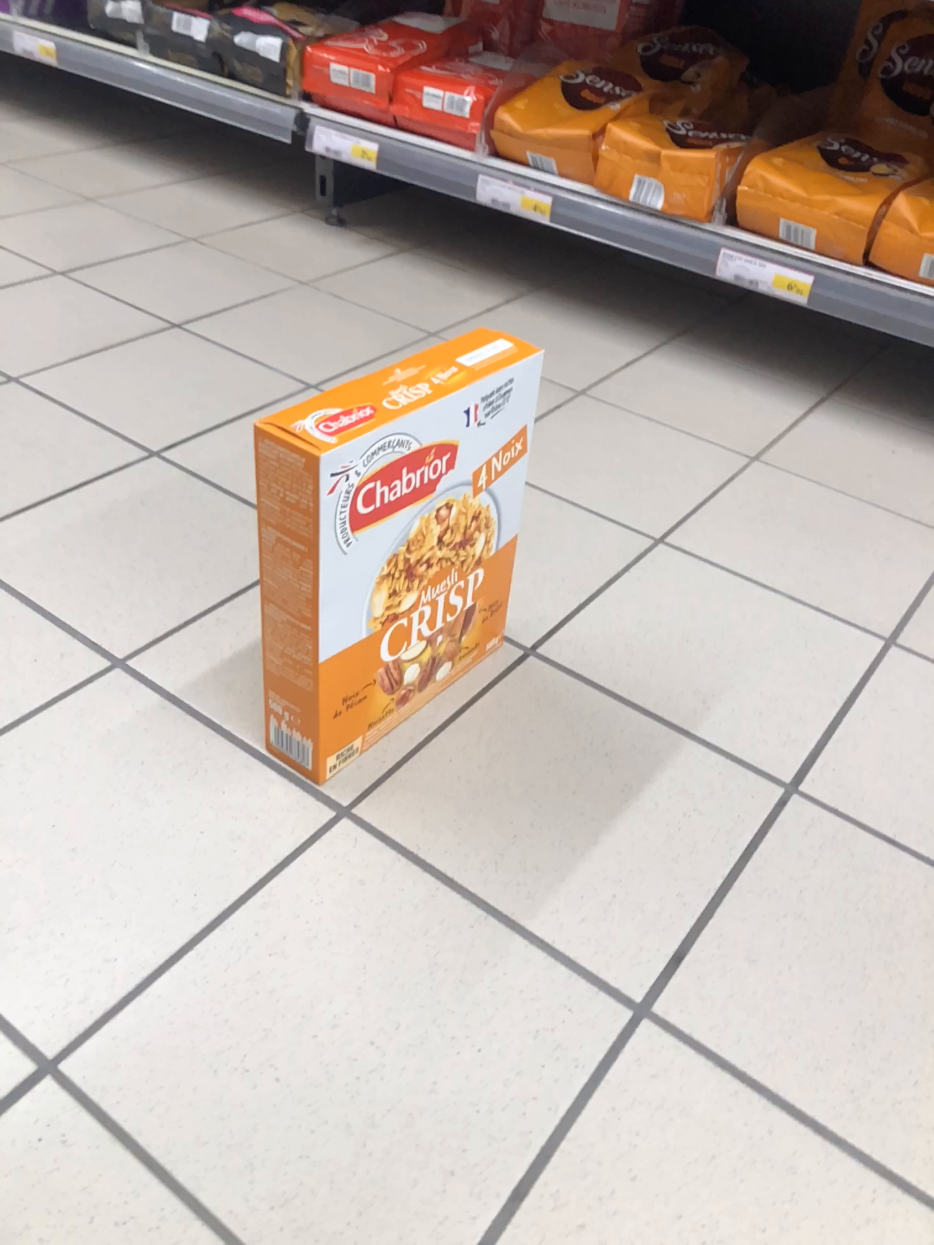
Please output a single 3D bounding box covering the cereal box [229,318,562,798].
[{"bbox_3d":[-0.039,-0.042,0.609,0.060,0.219,0.201,28,42,26],"label":"cereal box"}]
